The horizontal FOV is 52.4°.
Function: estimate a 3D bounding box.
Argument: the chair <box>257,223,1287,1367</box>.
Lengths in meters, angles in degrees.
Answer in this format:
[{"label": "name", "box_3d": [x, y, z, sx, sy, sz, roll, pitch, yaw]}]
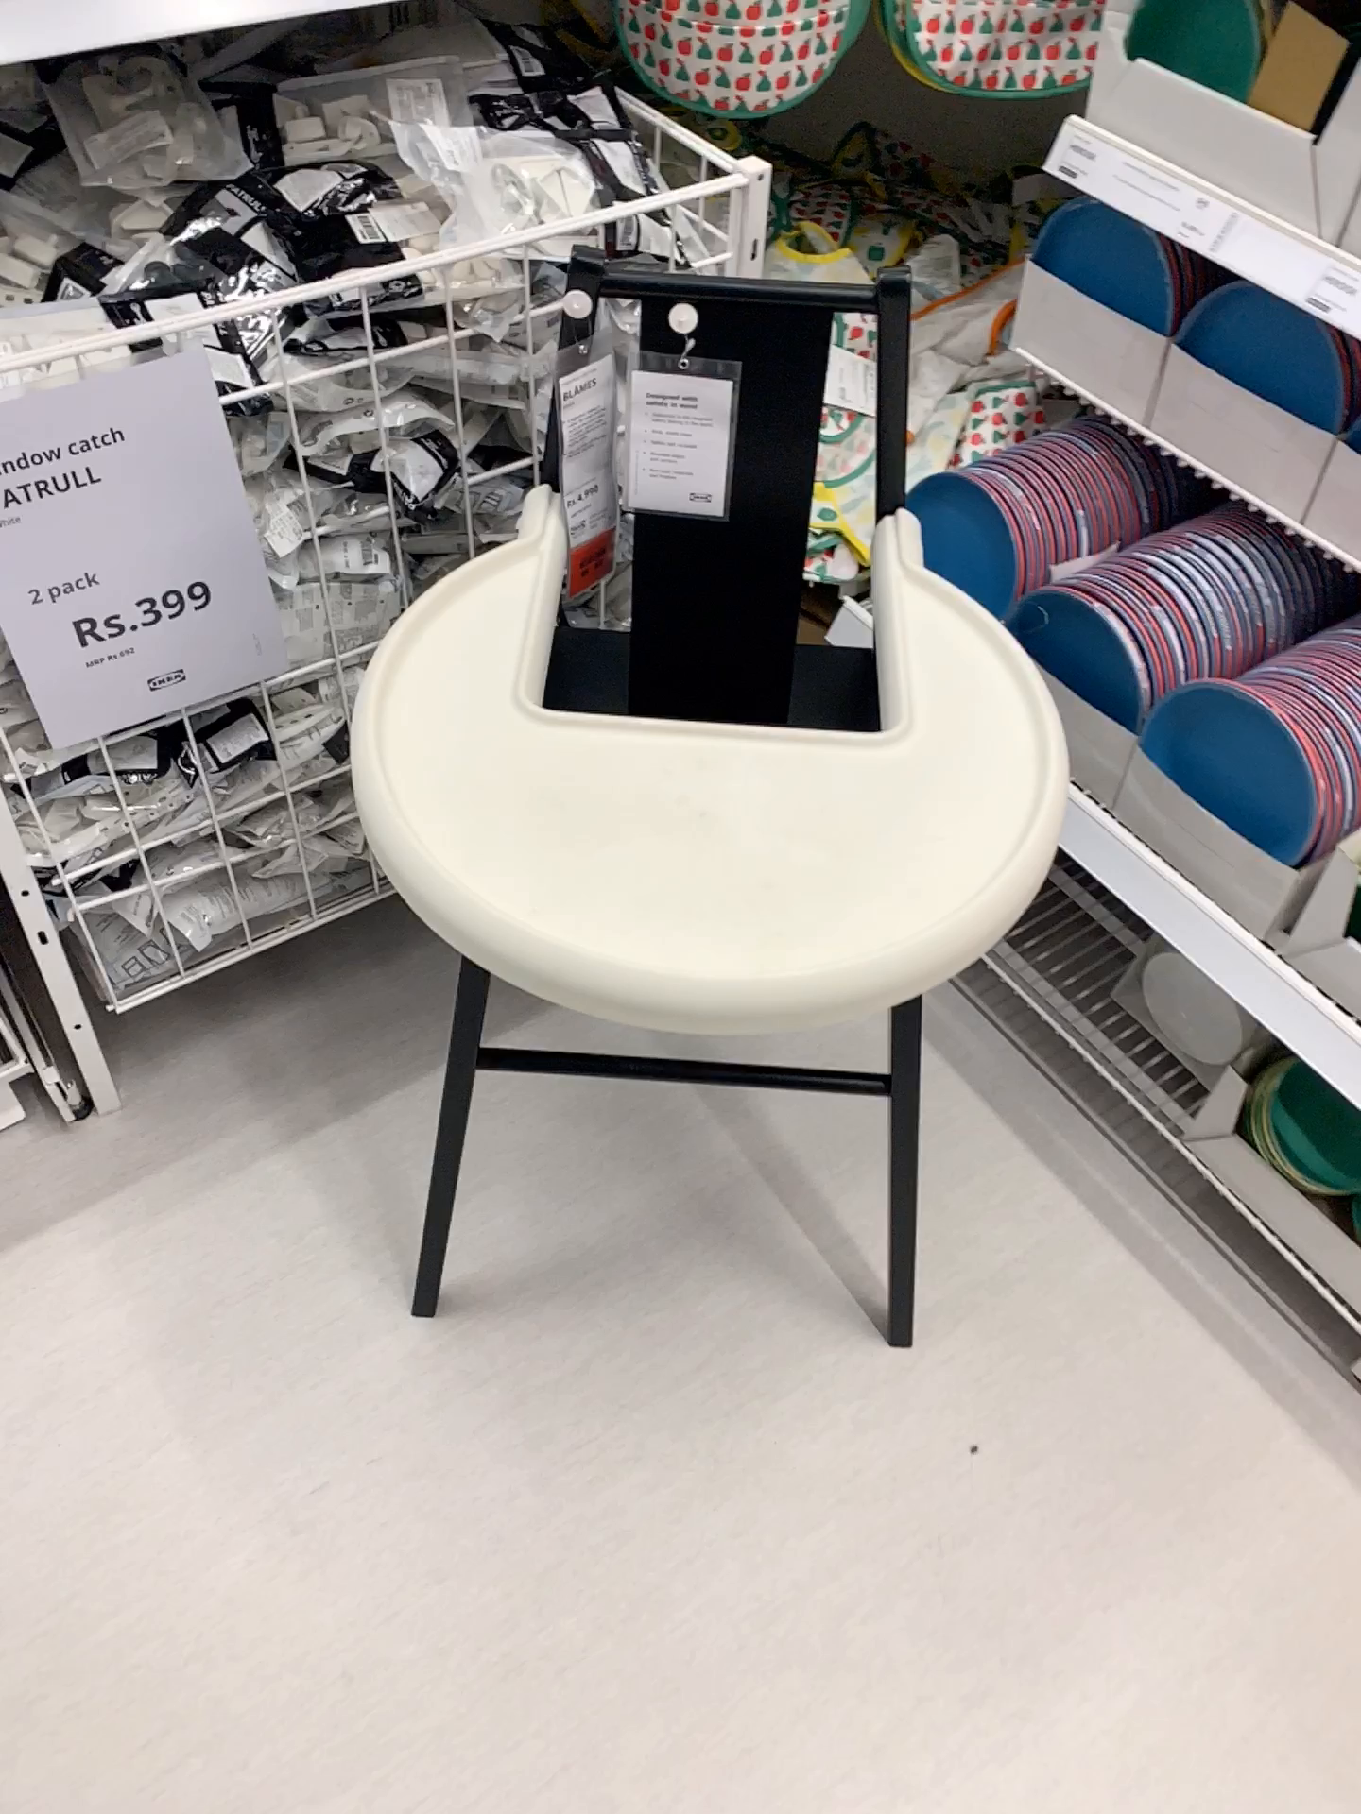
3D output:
[{"label": "chair", "box_3d": [0.041, -0.048, 1.184, 0.530, 0.777, 0.552, 4, 49, 0]}]
